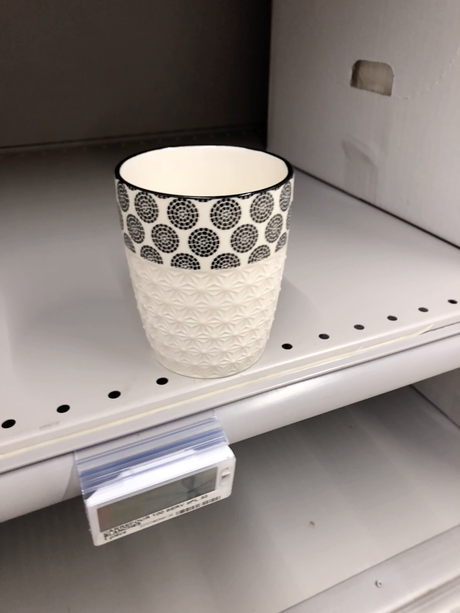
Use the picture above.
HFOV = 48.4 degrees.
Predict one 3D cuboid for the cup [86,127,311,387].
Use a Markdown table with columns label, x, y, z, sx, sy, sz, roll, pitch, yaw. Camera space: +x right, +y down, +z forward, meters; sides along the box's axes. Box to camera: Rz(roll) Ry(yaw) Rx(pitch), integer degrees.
| label | x | y | z | sx | sy | sz | roll | pitch | yaw |
| --- | --- | --- | --- | --- | --- | --- | --- | --- | --- |
| cup | -0.010 | -0.032 | 0.271 | 0.088 | 0.095 | 0.107 | 2 | 32 | 3 |
